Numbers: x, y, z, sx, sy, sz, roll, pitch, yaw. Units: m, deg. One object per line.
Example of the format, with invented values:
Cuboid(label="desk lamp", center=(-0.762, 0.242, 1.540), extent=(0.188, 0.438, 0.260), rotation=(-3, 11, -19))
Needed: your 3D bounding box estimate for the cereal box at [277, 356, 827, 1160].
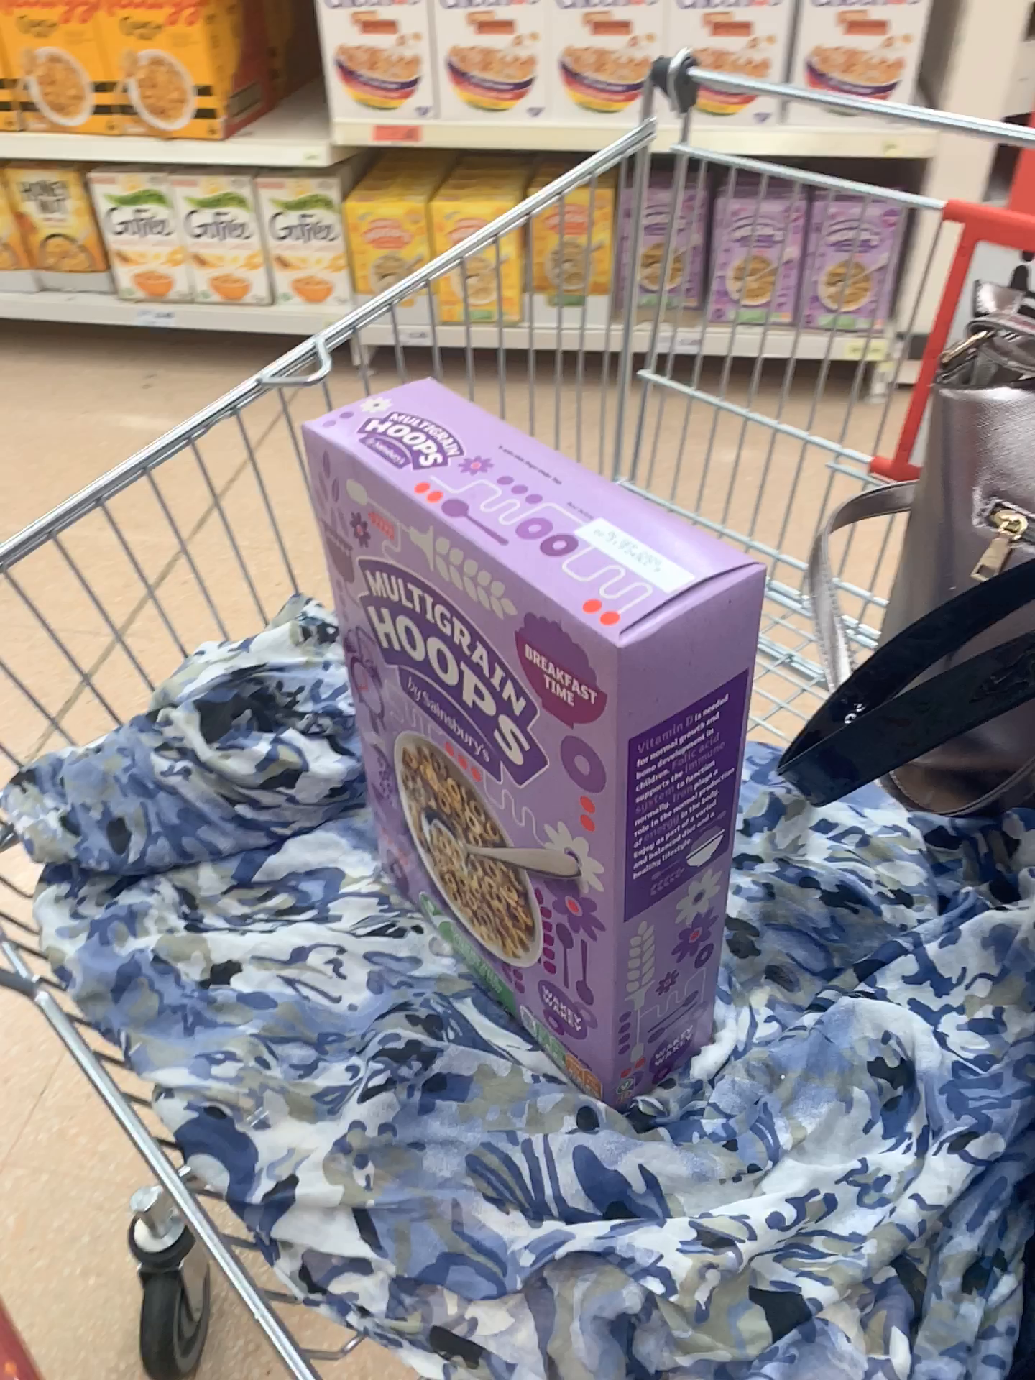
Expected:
Cuboid(label="cereal box", center=(0.003, 0.030, 0.446), extent=(0.070, 0.267, 0.211), rotation=(-27, 46, -27))
